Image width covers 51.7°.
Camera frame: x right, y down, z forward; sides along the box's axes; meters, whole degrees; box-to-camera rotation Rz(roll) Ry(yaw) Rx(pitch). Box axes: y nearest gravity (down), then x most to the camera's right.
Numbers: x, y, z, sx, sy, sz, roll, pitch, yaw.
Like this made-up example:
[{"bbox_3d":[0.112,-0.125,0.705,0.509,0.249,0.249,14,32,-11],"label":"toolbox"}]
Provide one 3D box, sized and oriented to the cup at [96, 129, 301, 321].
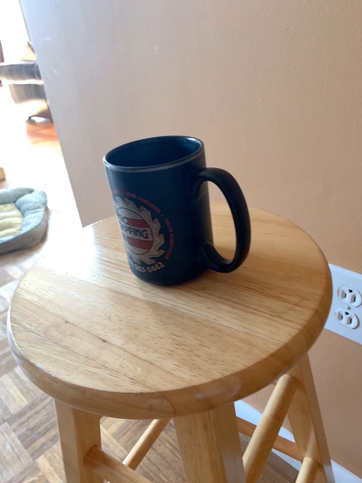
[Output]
[{"bbox_3d":[0.020,-0.028,0.352,0.140,0.119,0.110,16,36,35],"label":"cup"}]
